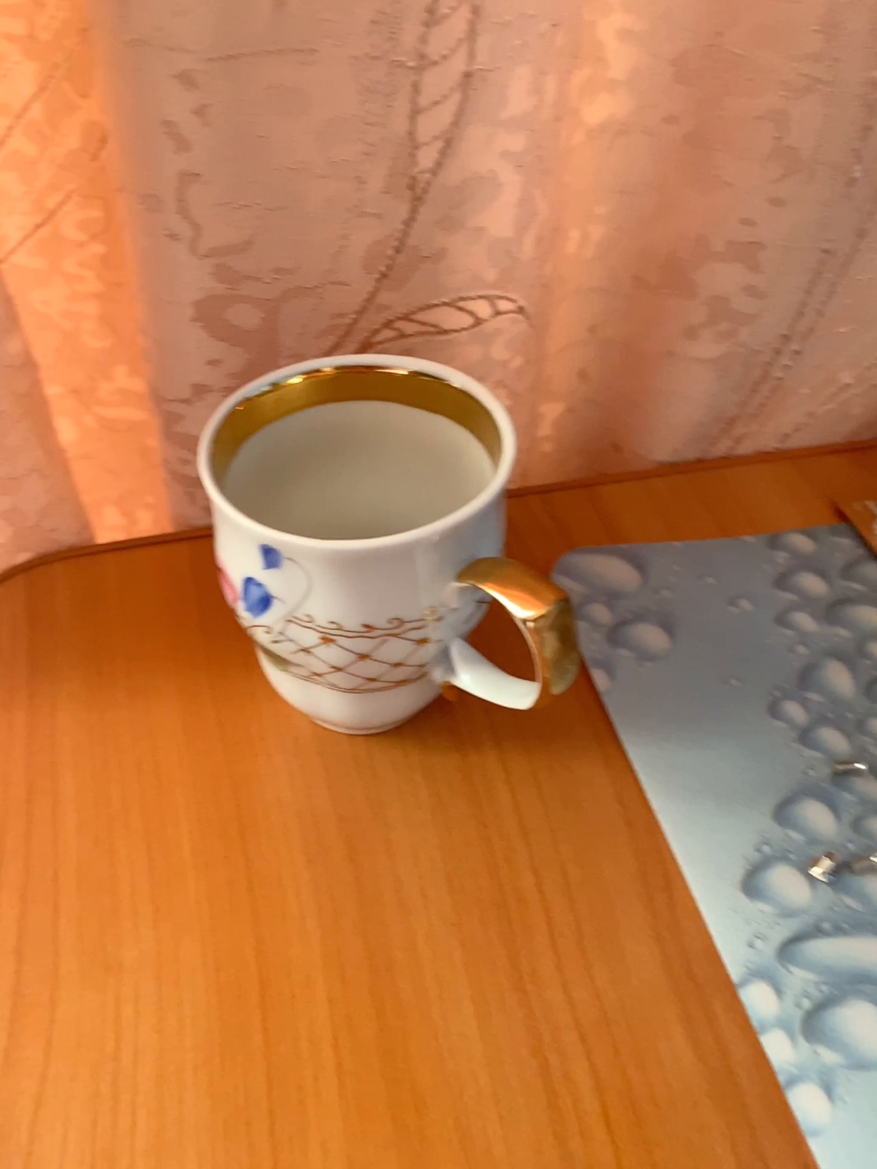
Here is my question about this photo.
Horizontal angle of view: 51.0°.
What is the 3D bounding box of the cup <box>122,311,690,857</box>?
[{"bbox_3d":[-0.007,-0.005,0.183,0.083,0.055,0.059,30,50,26],"label":"cup"}]
